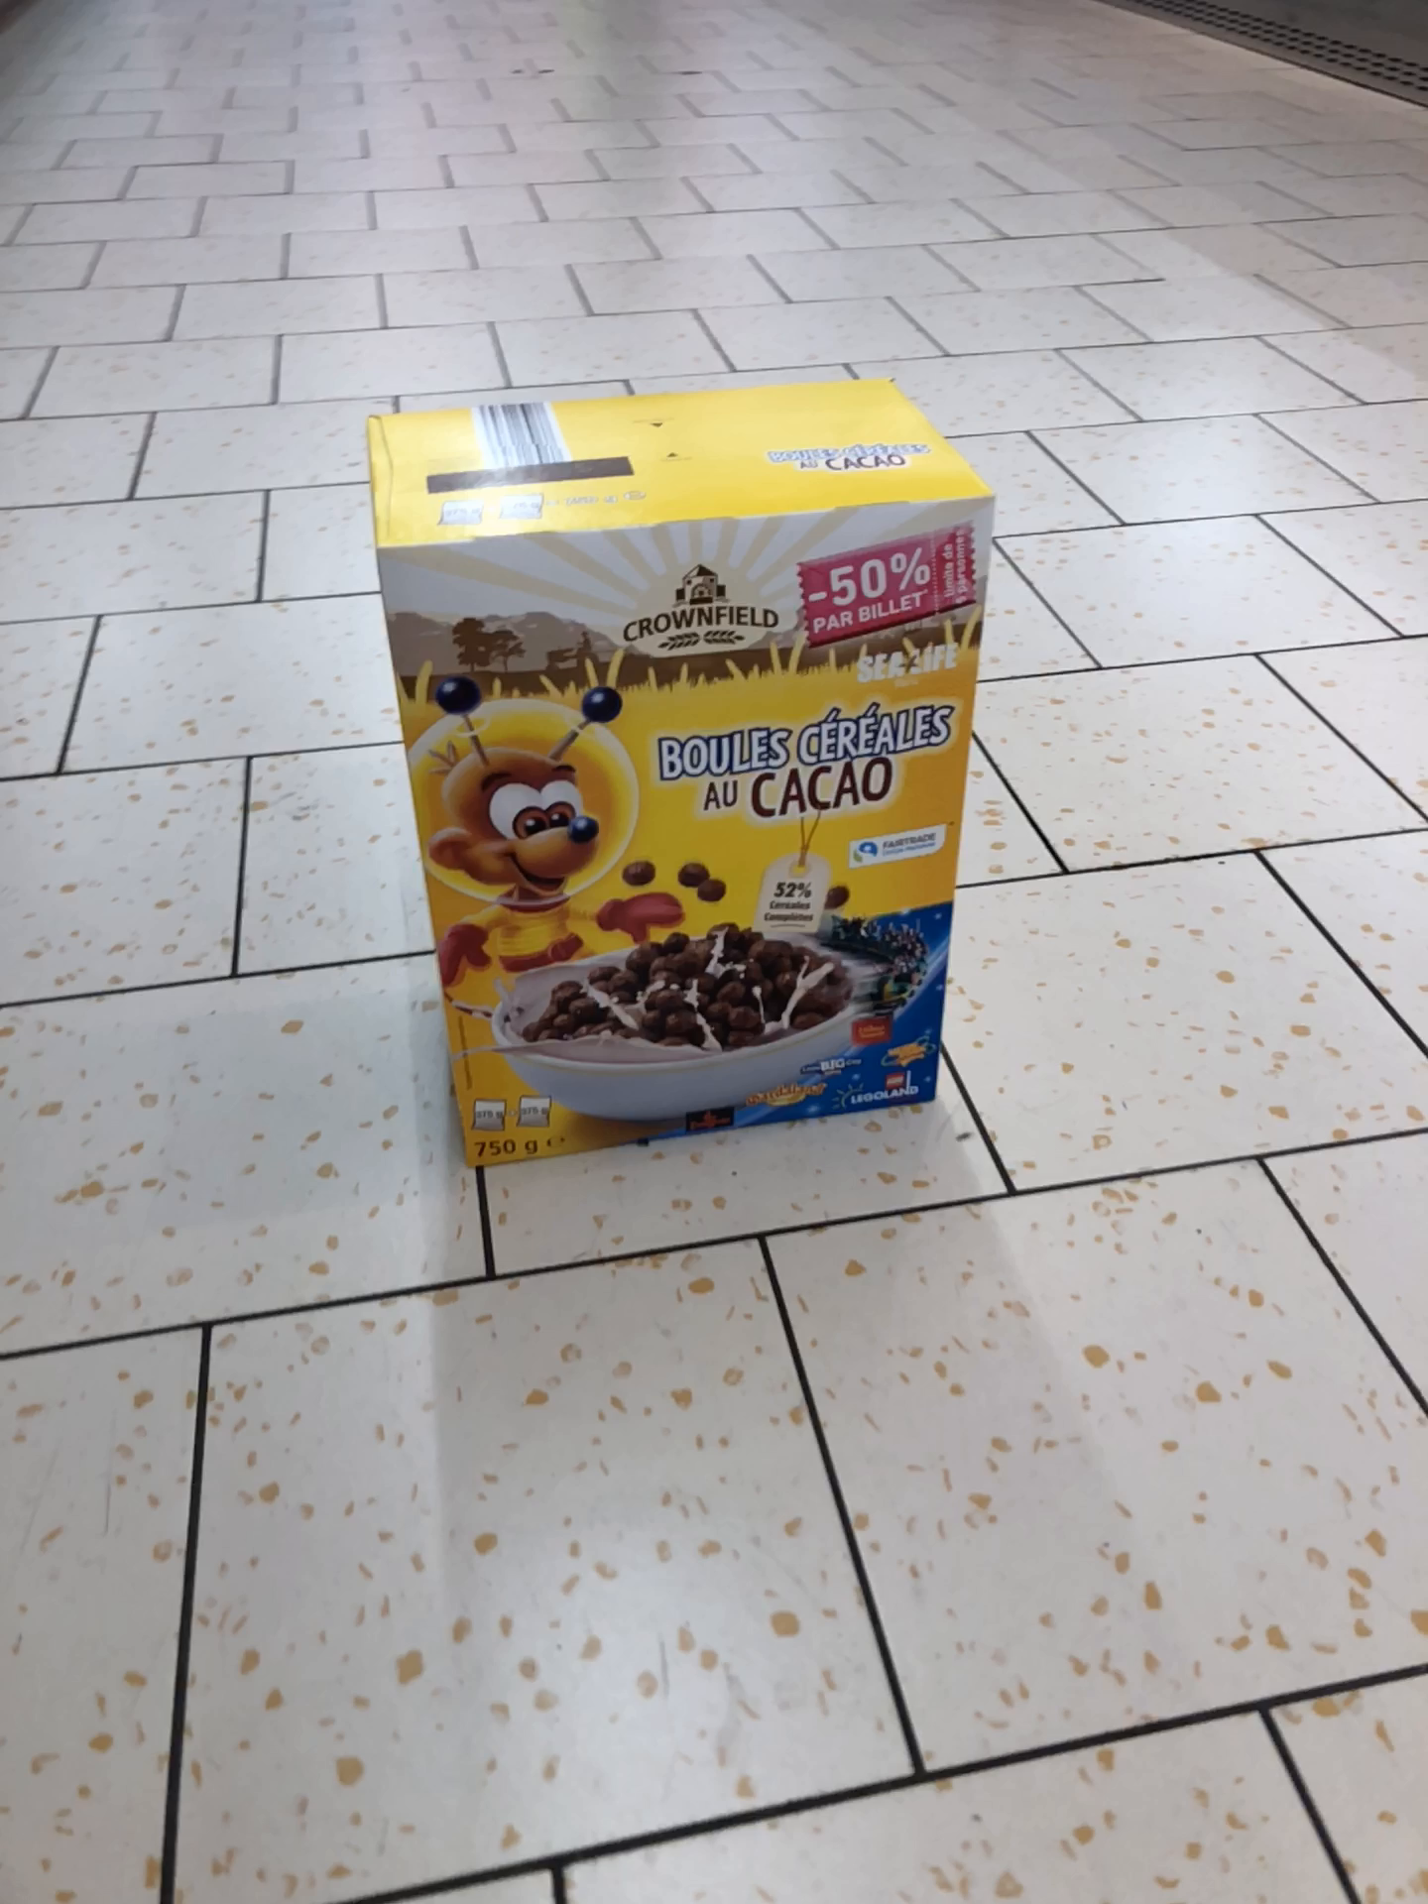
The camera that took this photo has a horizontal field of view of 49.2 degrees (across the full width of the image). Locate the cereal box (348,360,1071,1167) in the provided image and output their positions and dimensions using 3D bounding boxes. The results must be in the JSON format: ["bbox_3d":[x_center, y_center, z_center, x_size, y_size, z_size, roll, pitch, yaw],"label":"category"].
[{"bbox_3d":[-0.009,-0.068,0.568,0.210,0.239,0.131,-7,37,-9],"label":"cereal box"}]
